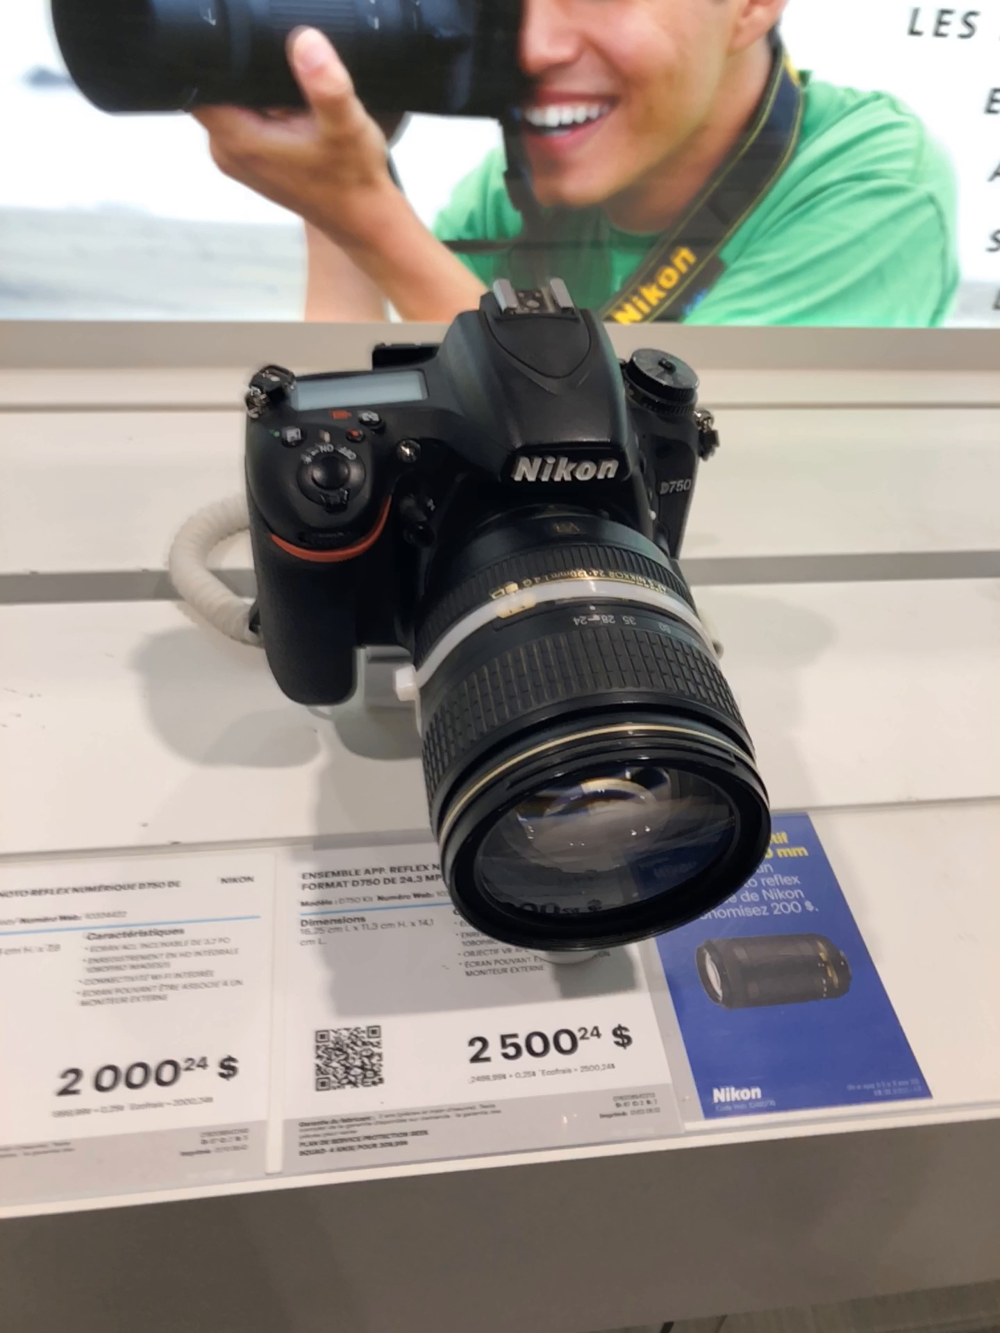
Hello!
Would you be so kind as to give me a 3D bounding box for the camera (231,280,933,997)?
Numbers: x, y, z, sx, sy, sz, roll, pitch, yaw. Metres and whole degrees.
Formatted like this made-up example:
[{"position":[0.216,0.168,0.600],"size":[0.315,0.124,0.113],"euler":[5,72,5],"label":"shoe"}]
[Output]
[{"position":[0.000,-0.024,0.311],"size":[0.138,0.099,0.184],"euler":[-4,41,-10],"label":"camera"}]
